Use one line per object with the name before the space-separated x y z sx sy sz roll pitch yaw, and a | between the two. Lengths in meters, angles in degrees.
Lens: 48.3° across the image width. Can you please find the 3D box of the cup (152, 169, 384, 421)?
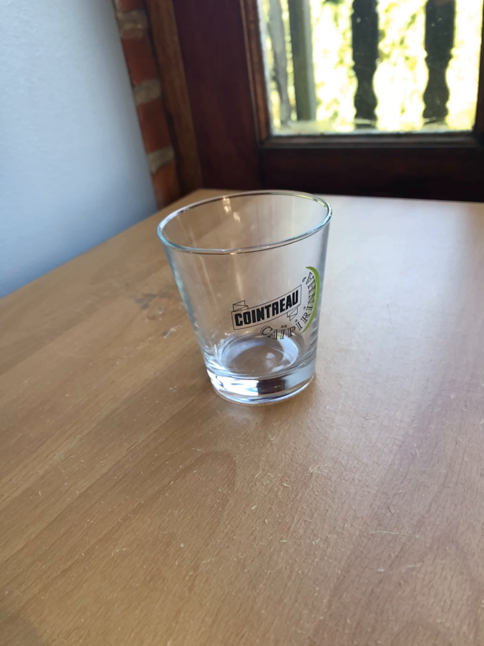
cup | 0.010 -0.018 0.246 0.079 0.073 0.076 -7 30 4
